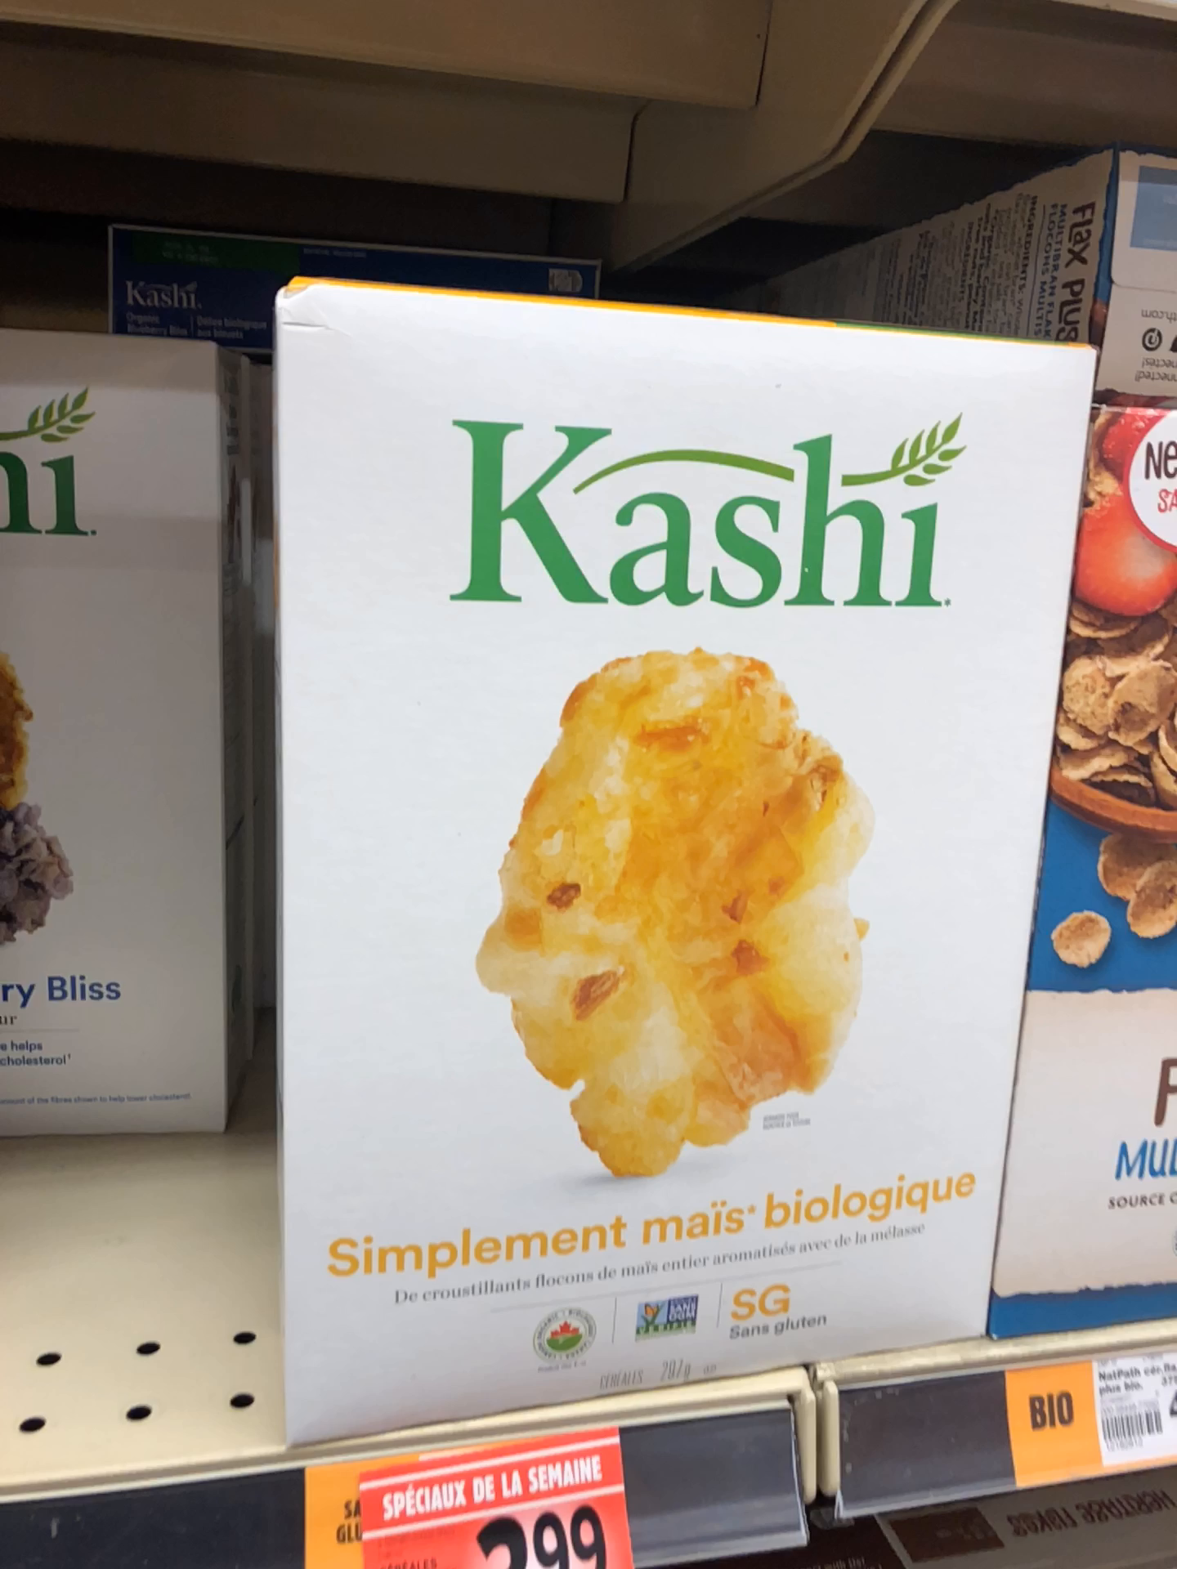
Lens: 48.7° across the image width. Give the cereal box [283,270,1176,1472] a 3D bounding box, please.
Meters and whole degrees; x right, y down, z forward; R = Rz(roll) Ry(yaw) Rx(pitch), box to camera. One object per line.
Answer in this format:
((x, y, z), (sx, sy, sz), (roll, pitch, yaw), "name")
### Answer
((0.026, 0.023, 0.334), (0.200, 0.269, 0.060), (-1, 14, -16), "cereal box")
